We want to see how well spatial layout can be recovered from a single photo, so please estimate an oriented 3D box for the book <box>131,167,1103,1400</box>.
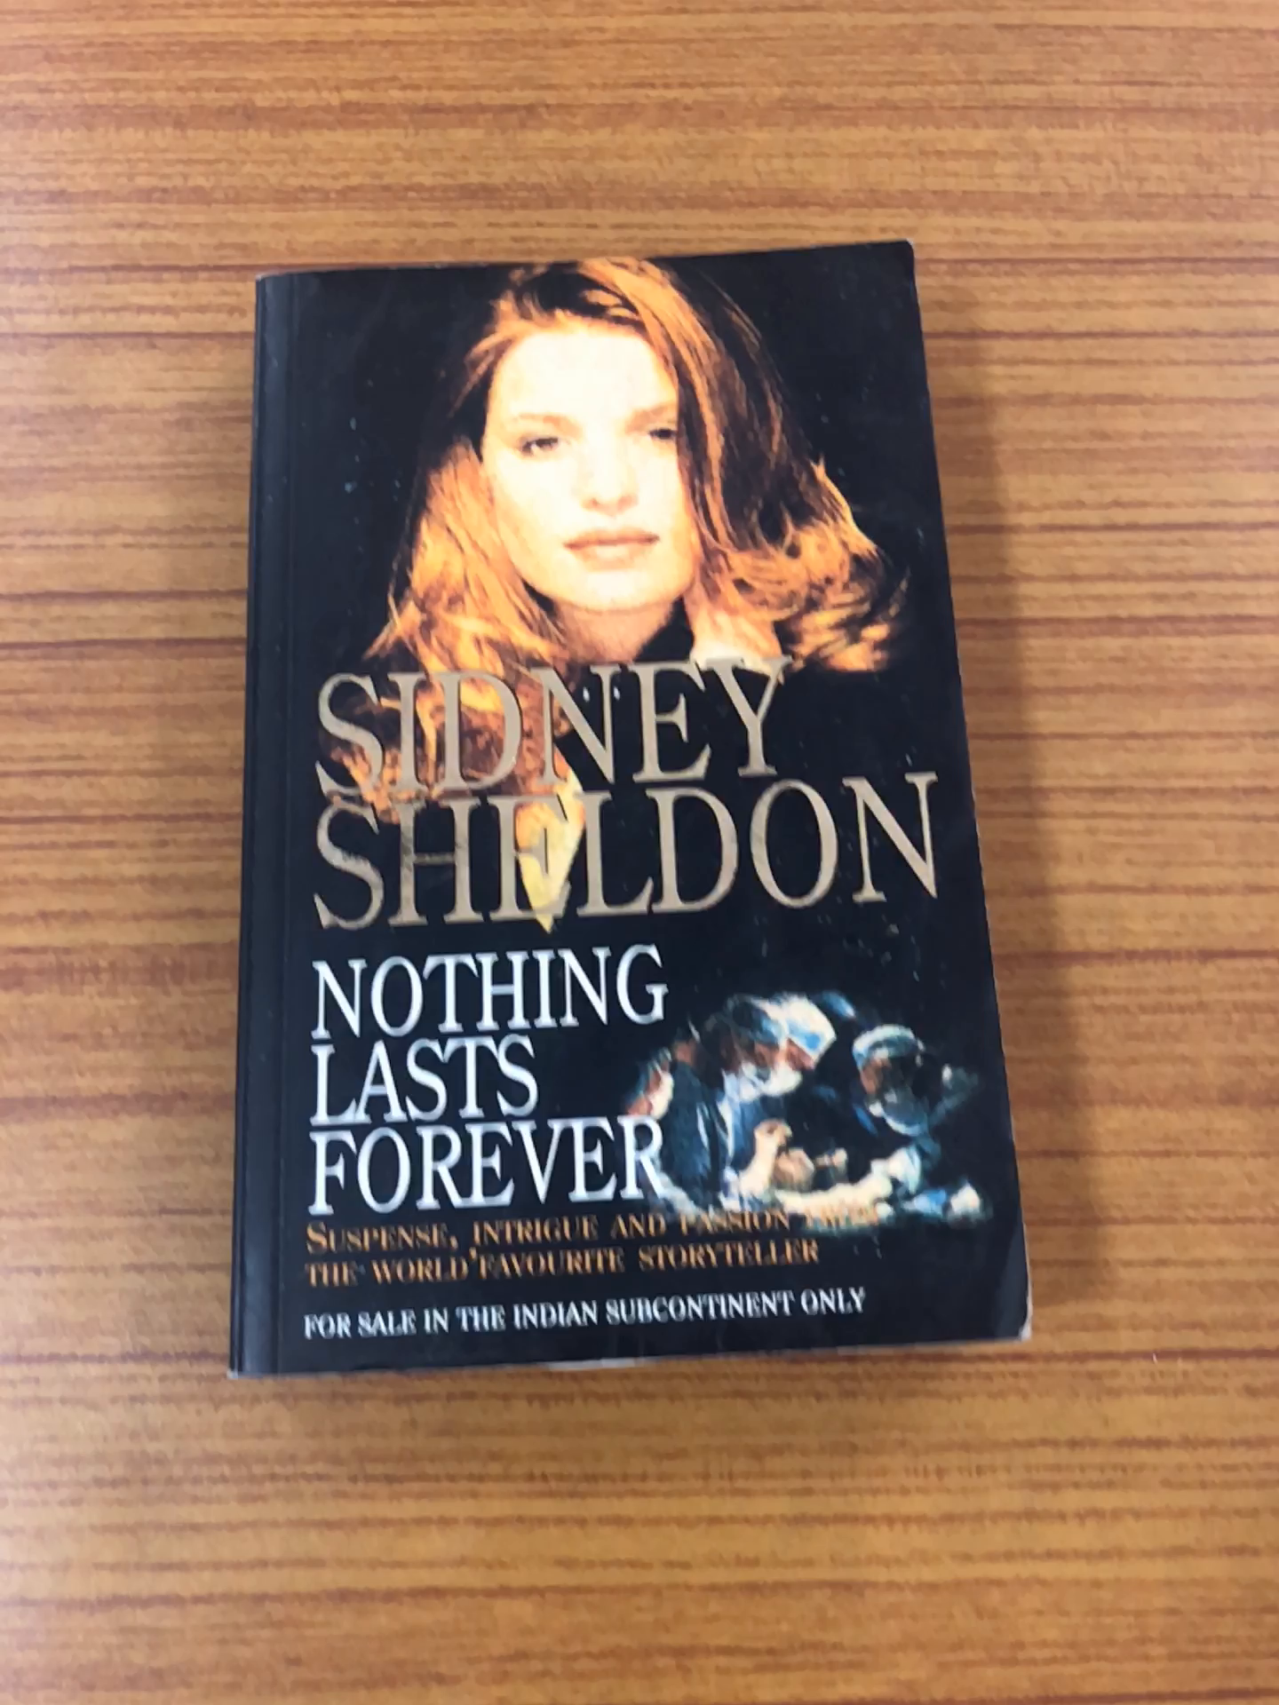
[{"bbox_3d":[-0.007,-0.015,0.212,0.120,0.030,0.170,-3,76,-1],"label":"book"}]
